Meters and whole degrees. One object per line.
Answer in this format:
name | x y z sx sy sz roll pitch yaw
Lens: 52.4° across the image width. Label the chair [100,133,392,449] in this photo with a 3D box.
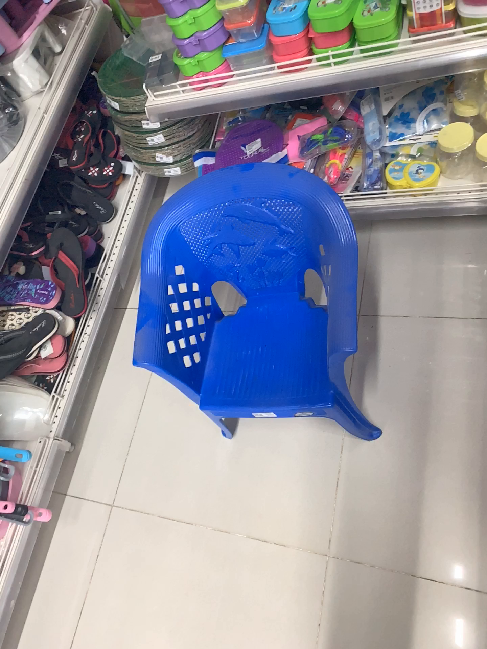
chair | 0.057 -0.016 1.046 0.421 0.468 0.450 -5 63 21
